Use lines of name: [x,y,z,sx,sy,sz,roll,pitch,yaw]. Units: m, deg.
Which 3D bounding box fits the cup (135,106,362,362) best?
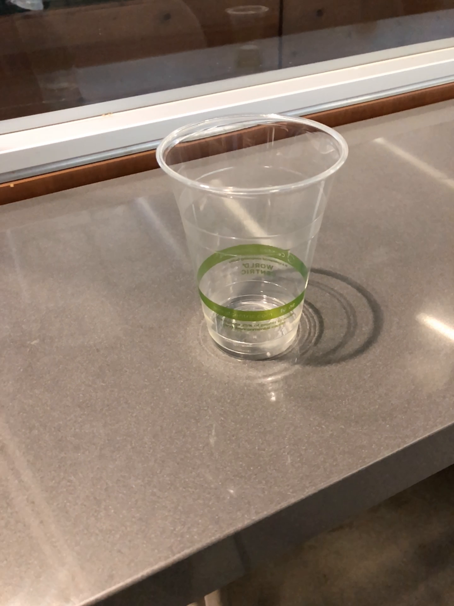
cup: [0.015,-0.042,0.295,0.100,0.109,0.100,-2,38,2]
